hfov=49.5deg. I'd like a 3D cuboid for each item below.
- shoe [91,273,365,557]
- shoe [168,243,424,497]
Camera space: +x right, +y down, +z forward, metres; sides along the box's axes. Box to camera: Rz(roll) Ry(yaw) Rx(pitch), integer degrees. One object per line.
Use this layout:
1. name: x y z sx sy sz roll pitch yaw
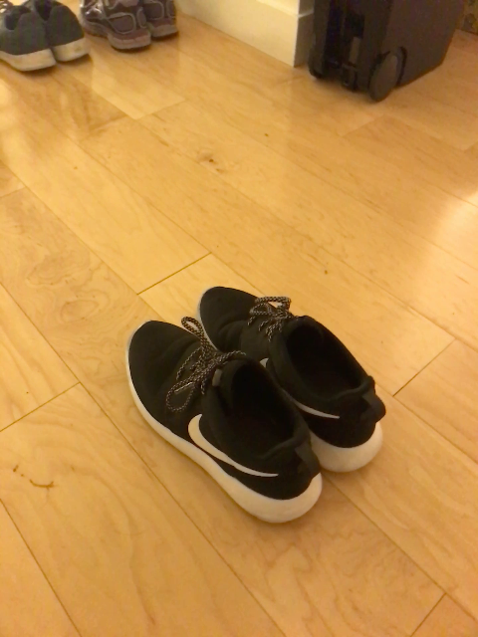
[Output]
1. shoe: -0.022 0.082 0.526 0.110 0.089 0.271 -33 57 -27
2. shoe: 0.048 0.043 0.574 0.110 0.089 0.271 -31 56 -25
